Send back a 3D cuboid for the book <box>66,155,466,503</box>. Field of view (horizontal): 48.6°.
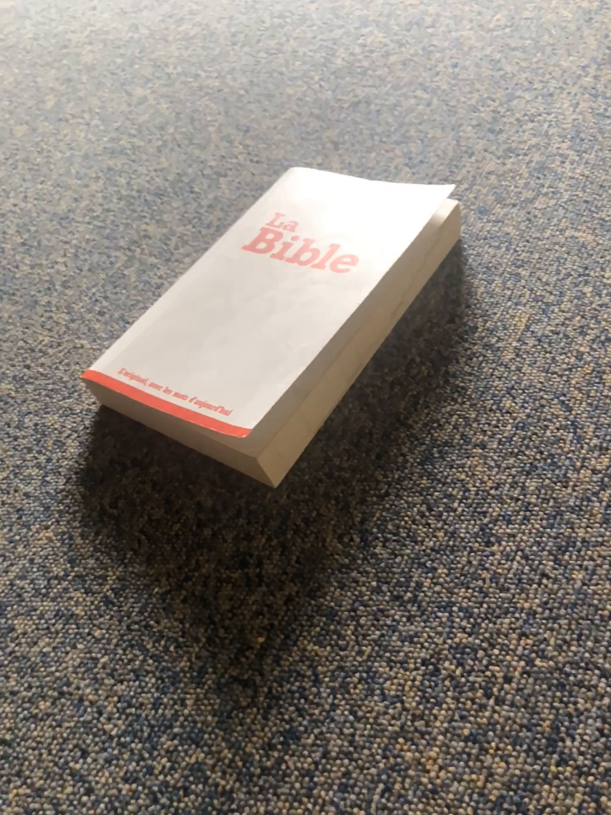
[{"bbox_3d":[-0.014,-0.062,0.398,0.133,0.042,0.211,21,60,29],"label":"book"}]
